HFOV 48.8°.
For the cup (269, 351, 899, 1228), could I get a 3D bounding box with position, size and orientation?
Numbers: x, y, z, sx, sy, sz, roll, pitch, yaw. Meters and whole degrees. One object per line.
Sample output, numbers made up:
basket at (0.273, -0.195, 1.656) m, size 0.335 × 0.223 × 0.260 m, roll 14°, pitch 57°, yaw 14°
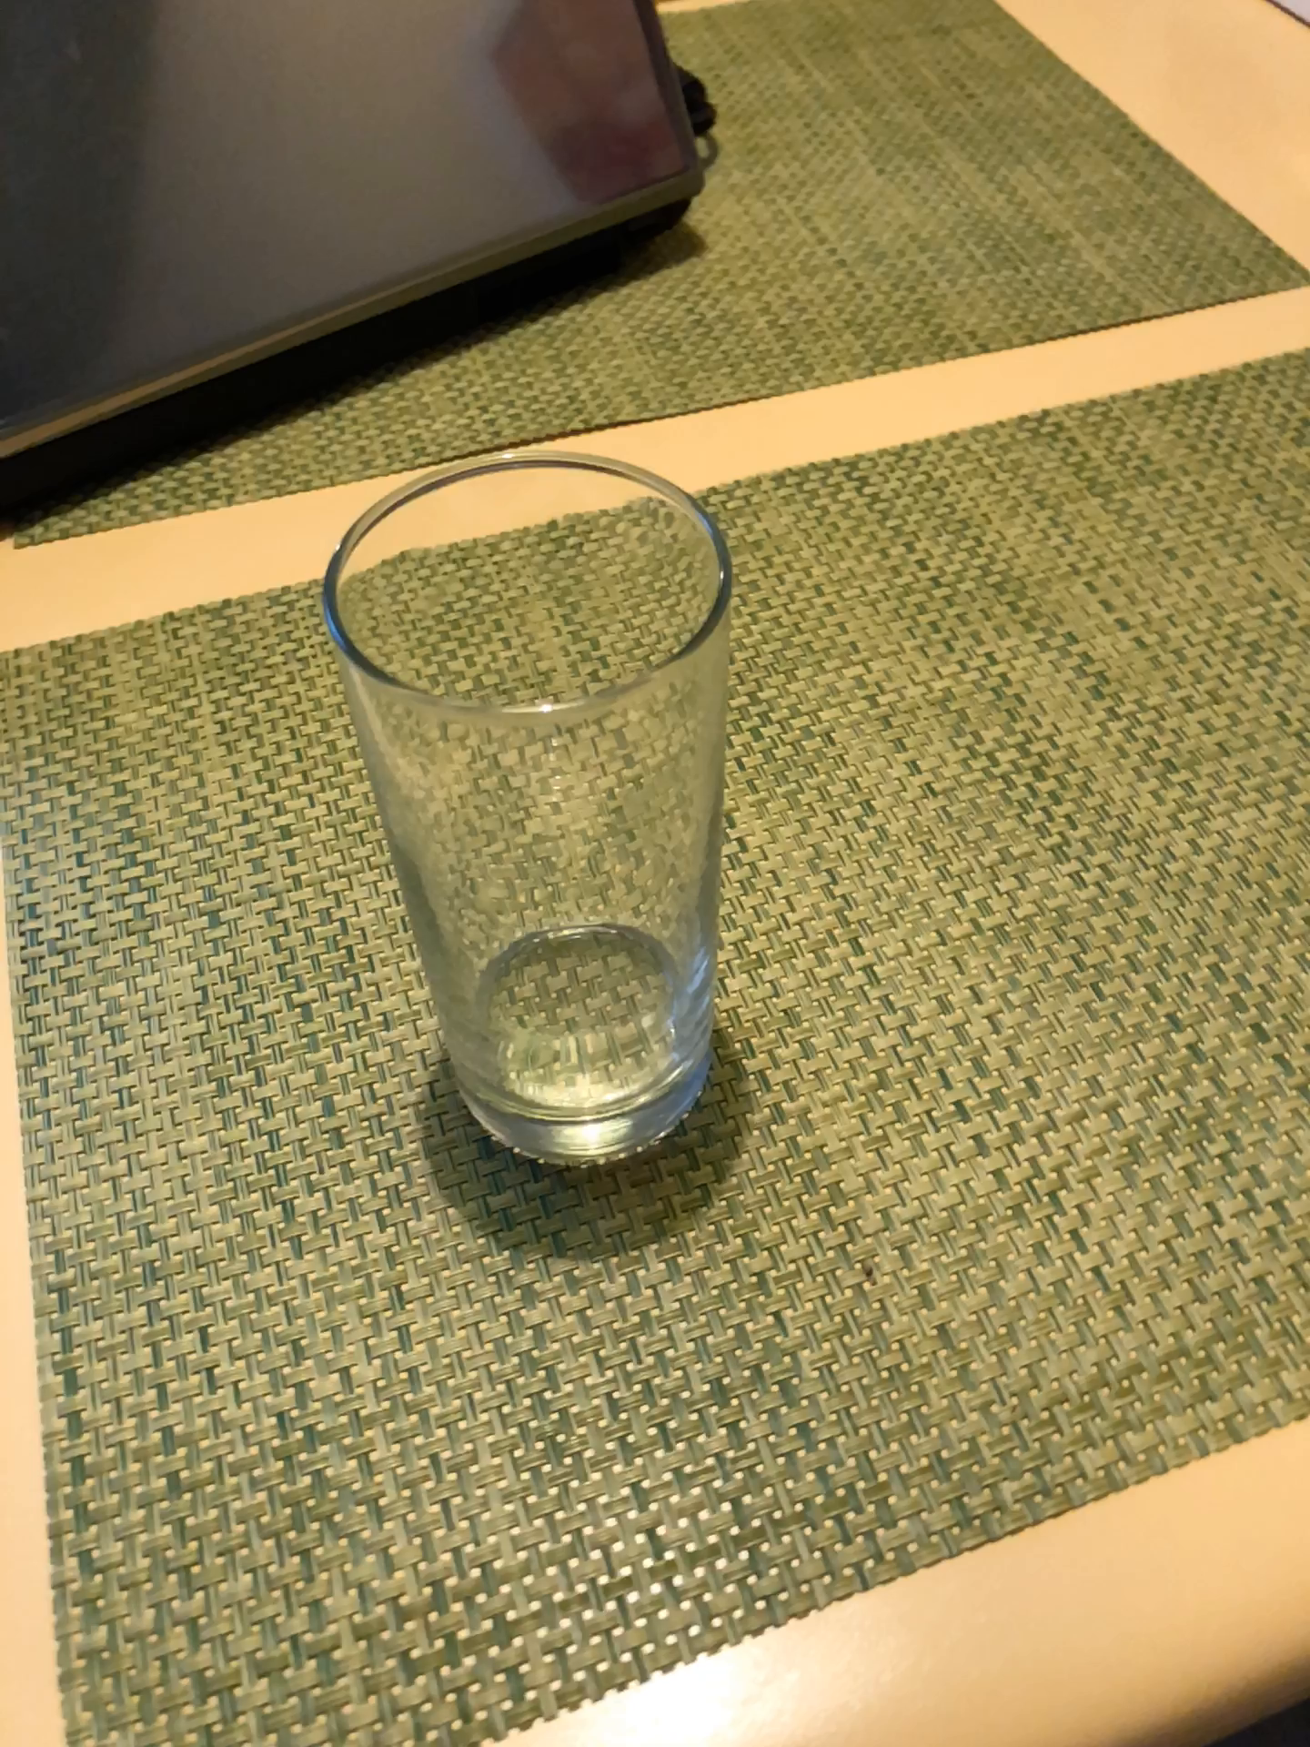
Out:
cup at (-0.011, -0.008, 0.272) m, size 0.070 × 0.139 × 0.070 m, roll -1°, pitch 52°, yaw 1°
